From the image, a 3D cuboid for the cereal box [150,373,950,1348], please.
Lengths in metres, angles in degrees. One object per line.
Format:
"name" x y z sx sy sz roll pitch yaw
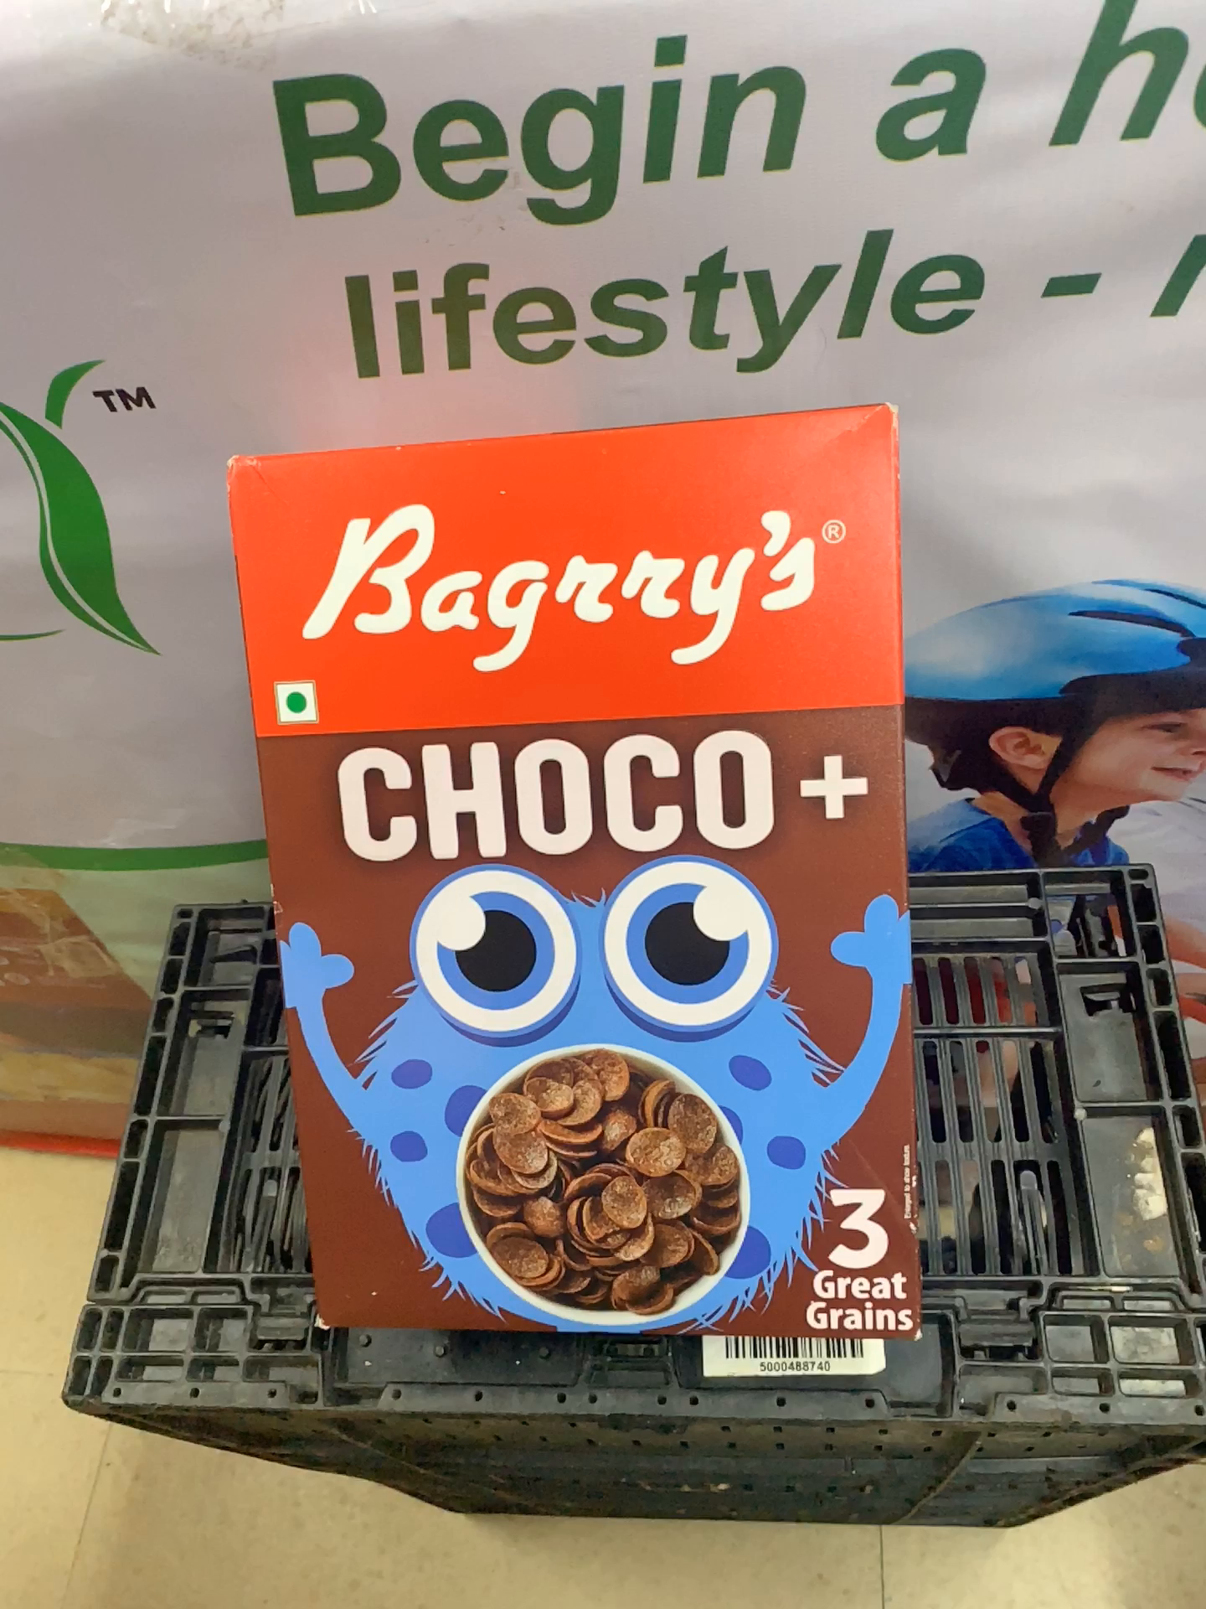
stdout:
"cereal box" -0.007 0.018 0.352 0.190 0.080 0.240 -2 98 8
